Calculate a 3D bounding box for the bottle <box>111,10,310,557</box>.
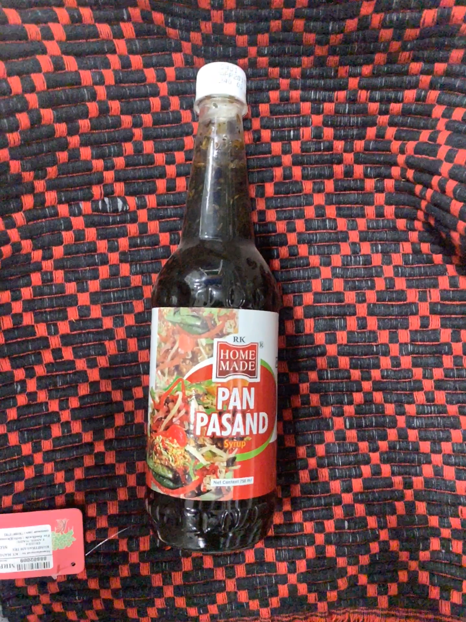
[{"bbox_3d":[-0.007,-0.021,0.282,0.090,0.080,0.280,2,80,-1],"label":"bottle"}]
